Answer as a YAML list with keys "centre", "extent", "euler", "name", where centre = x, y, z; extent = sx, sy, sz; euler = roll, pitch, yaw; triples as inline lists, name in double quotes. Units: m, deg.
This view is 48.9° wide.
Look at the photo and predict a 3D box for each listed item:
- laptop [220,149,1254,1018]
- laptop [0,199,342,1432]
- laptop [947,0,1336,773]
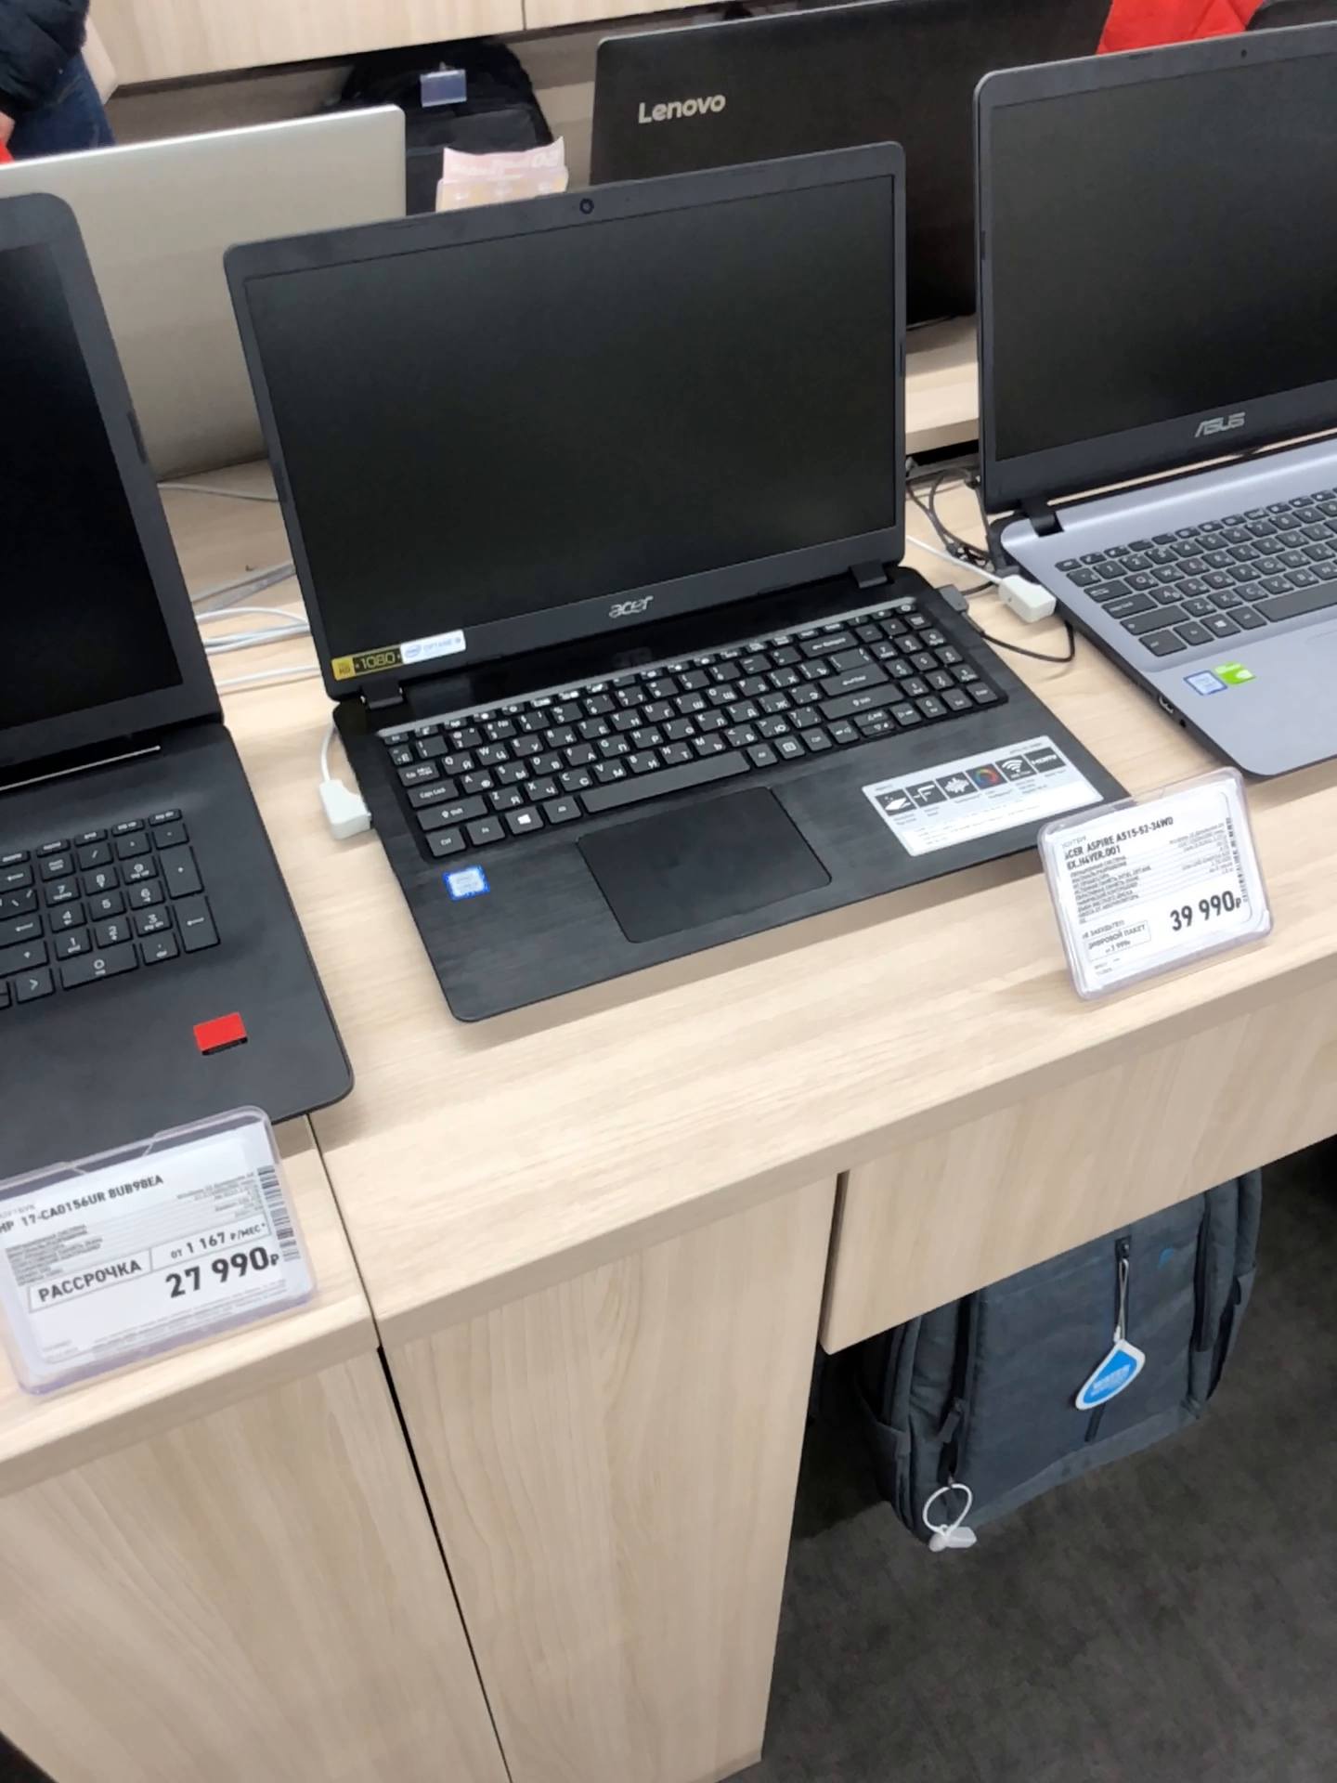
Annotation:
- centre: [0.013, -0.166, 0.700]
  extent: [0.346, 0.219, 0.292]
  euler: [-17, 47, -16]
  name: "laptop"
- centre: [-0.375, -0.065, 0.564]
  extent: [0.353, 0.226, 0.346]
  euler: [-19, 50, -21]
  name: "laptop"
- centre: [0.391, -0.298, 0.809]
  extent: [0.327, 0.218, 0.325]
  euler: [-17, 50, -14]
  name: "laptop"
